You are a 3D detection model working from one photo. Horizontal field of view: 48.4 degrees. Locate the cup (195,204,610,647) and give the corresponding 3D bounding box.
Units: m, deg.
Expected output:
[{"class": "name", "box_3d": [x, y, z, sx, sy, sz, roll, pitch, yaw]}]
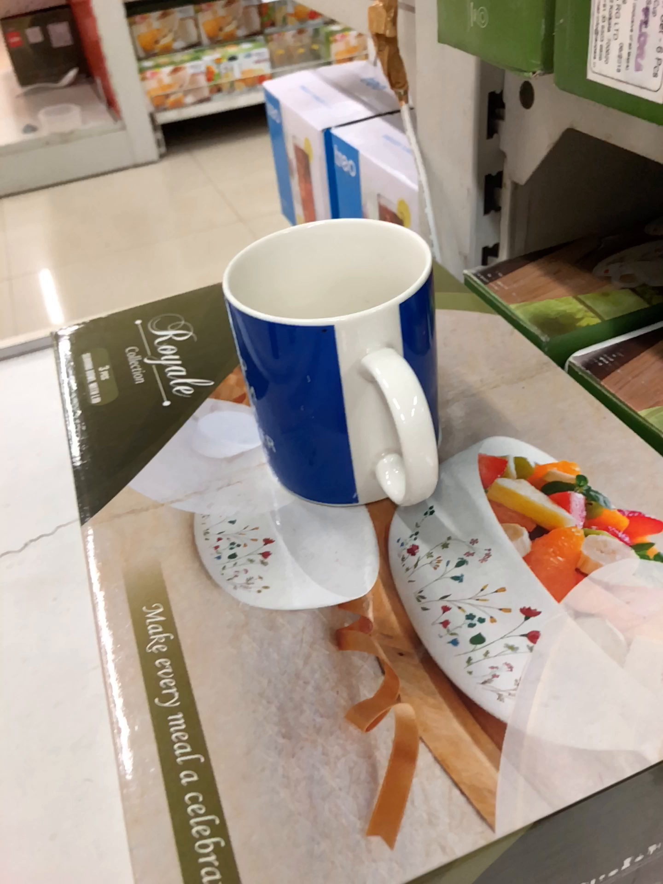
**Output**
[{"class": "cup", "box_3d": [0.020, -0.017, 0.314, 0.110, 0.099, 0.141, -17, 41, -12]}]
